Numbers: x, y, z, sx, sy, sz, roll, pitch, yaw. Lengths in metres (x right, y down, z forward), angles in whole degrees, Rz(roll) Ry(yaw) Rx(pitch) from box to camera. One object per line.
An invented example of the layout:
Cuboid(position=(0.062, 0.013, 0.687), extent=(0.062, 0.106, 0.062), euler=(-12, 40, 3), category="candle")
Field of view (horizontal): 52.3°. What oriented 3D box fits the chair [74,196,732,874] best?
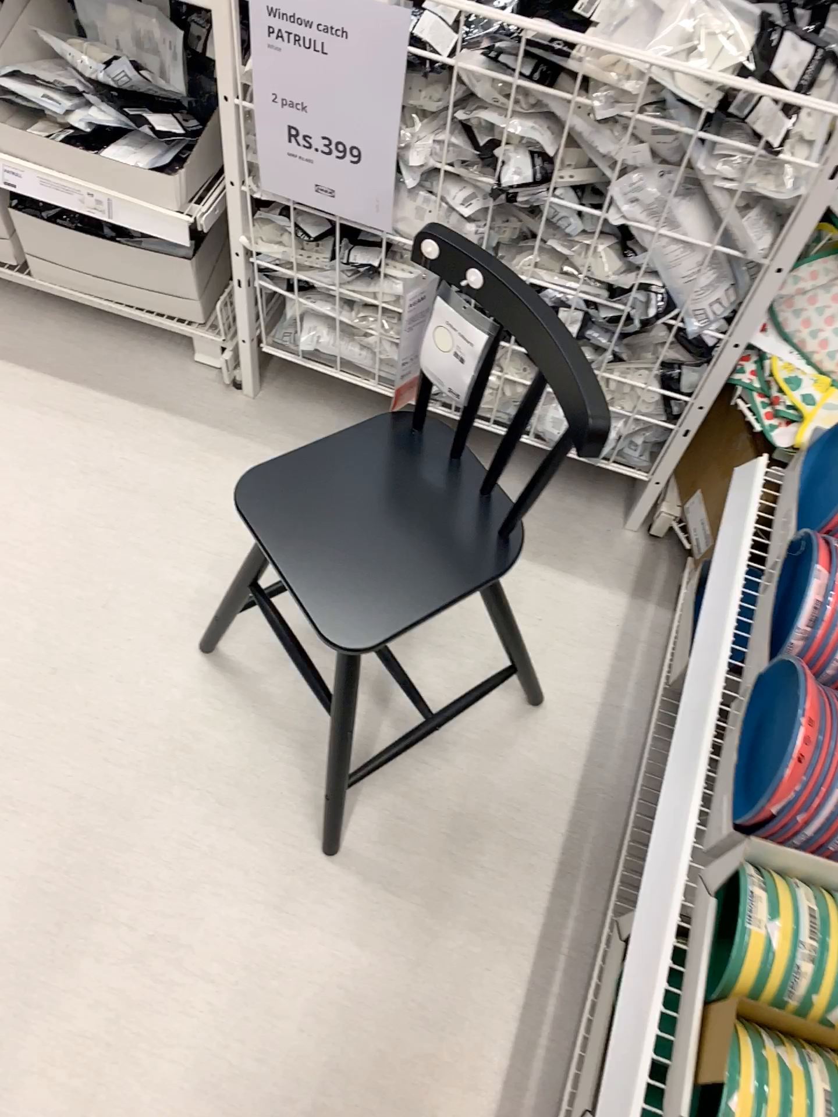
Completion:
Cuboid(position=(-0.046, 0.025, 1.090), extent=(0.460, 0.688, 0.421), euler=(-27, 66, -20), category="chair")
